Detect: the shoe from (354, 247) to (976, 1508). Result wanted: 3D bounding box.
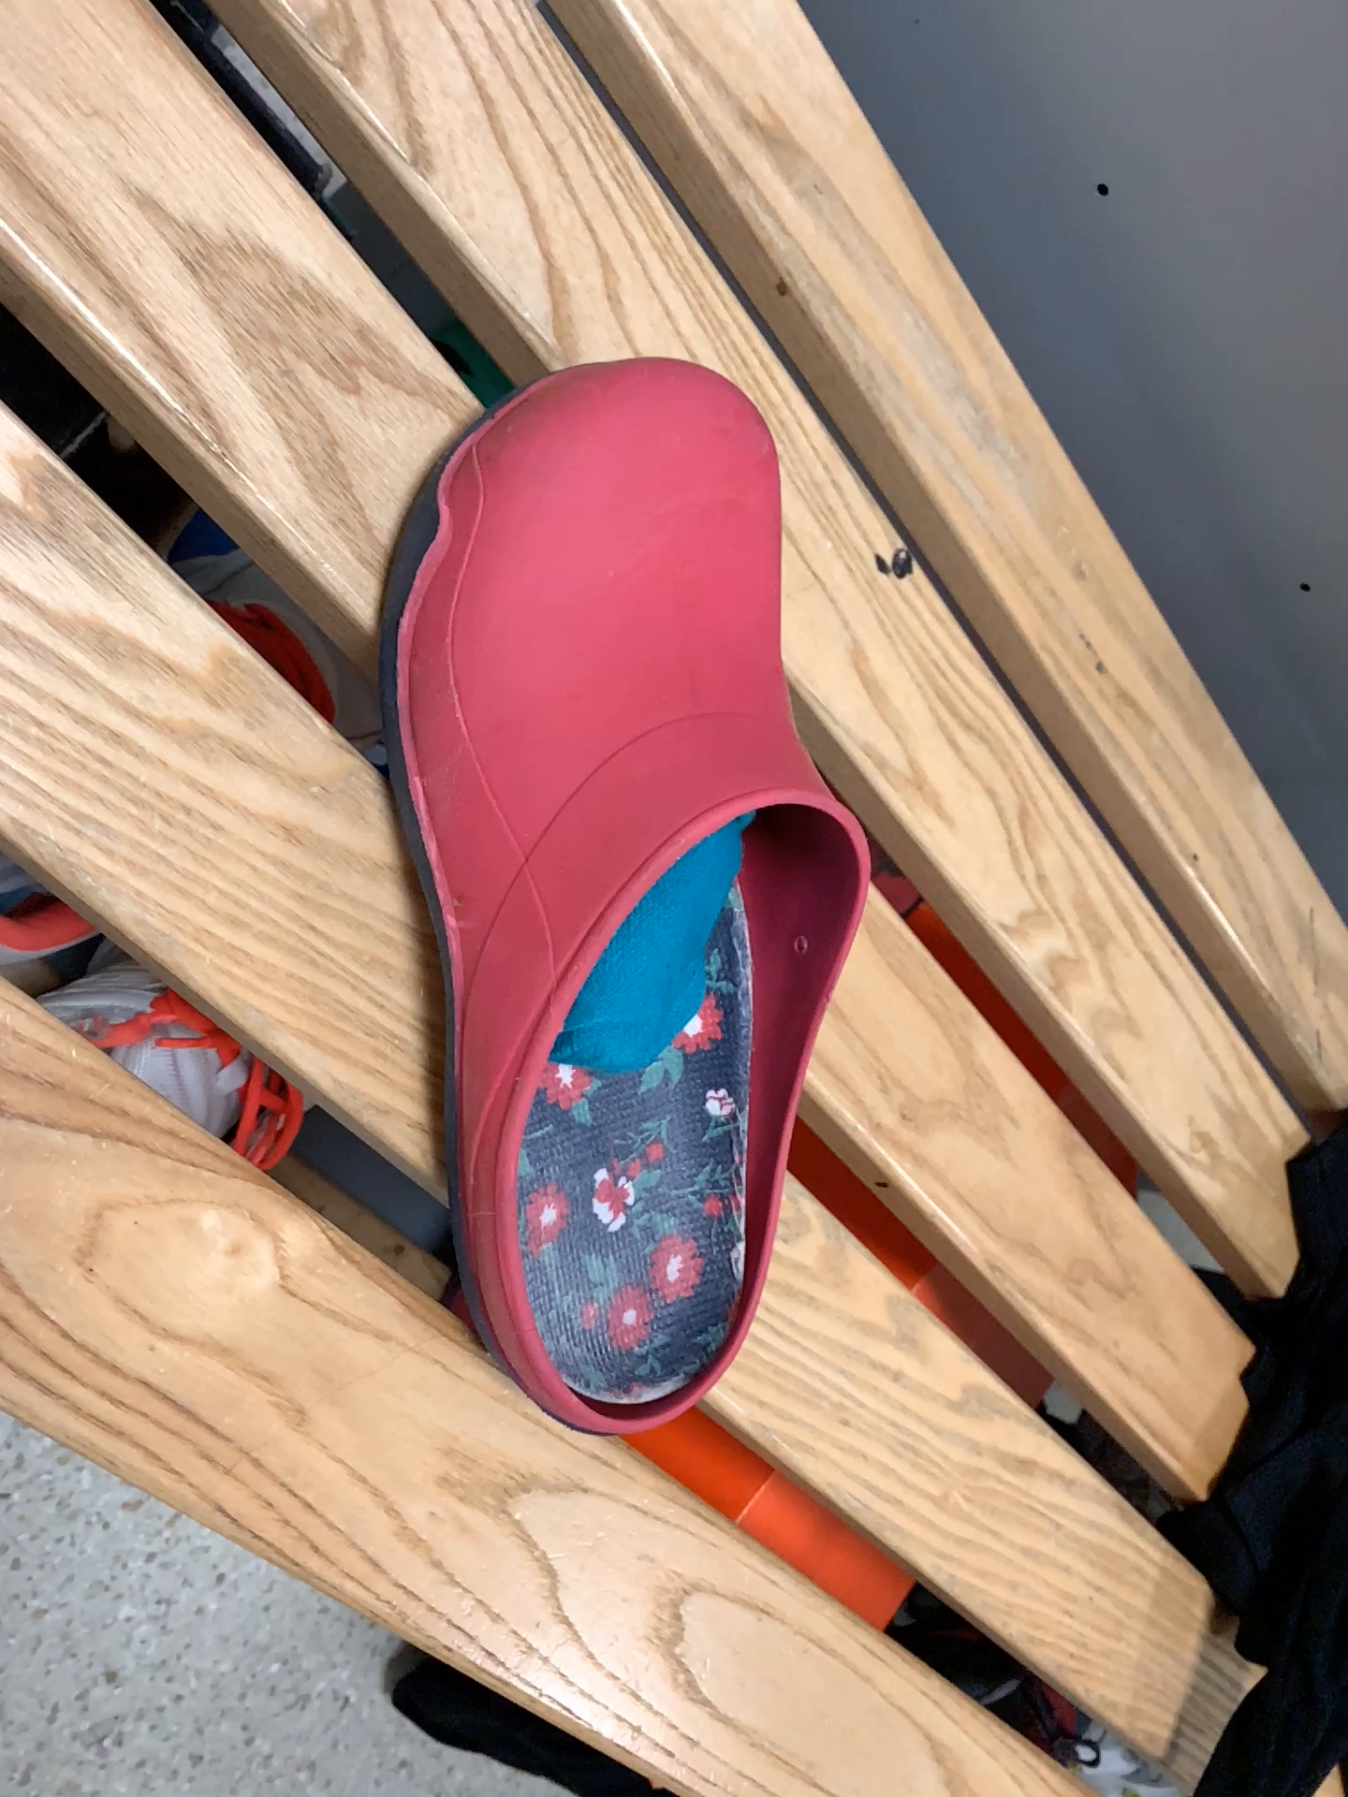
[{"bbox_3d":[-0.001,-0.006,0.324,0.107,0.076,0.238,-5,93,-38],"label":"shoe"}]
